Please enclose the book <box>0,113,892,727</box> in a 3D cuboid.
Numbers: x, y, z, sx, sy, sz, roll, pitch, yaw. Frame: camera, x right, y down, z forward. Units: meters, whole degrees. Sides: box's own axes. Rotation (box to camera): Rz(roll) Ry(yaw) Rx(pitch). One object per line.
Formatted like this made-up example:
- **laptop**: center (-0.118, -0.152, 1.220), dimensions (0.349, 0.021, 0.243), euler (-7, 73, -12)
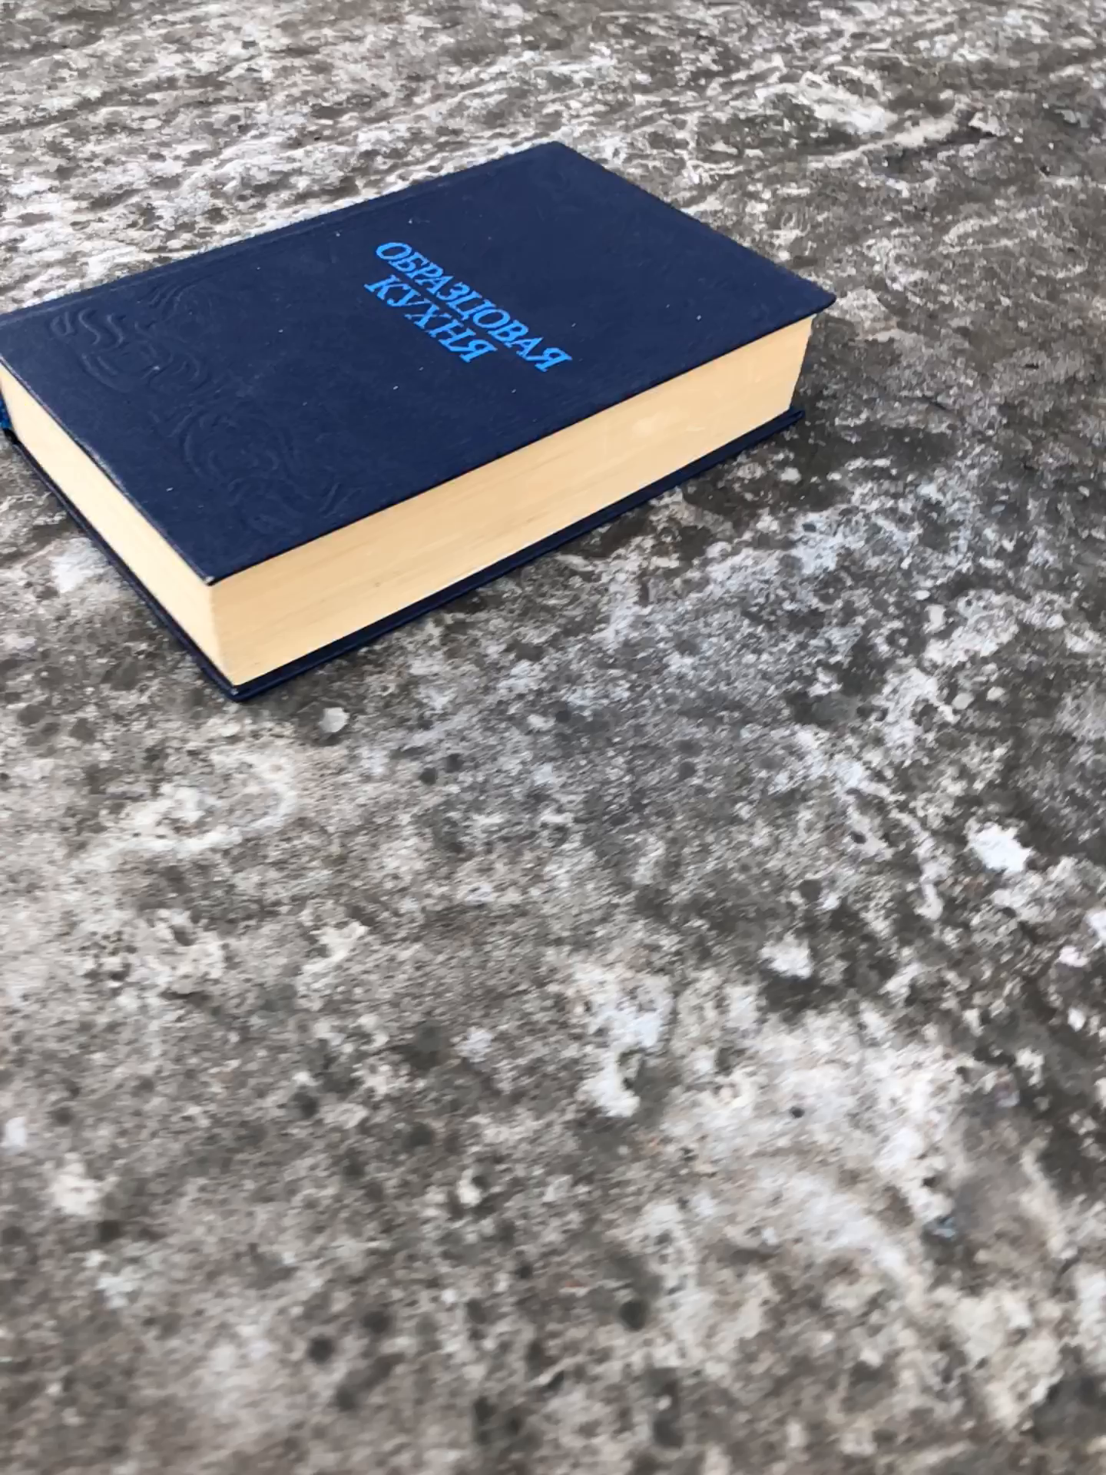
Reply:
- **book**: center (-0.032, -0.105, 0.343), dimensions (0.210, 0.040, 0.140), euler (-30, 58, -27)
